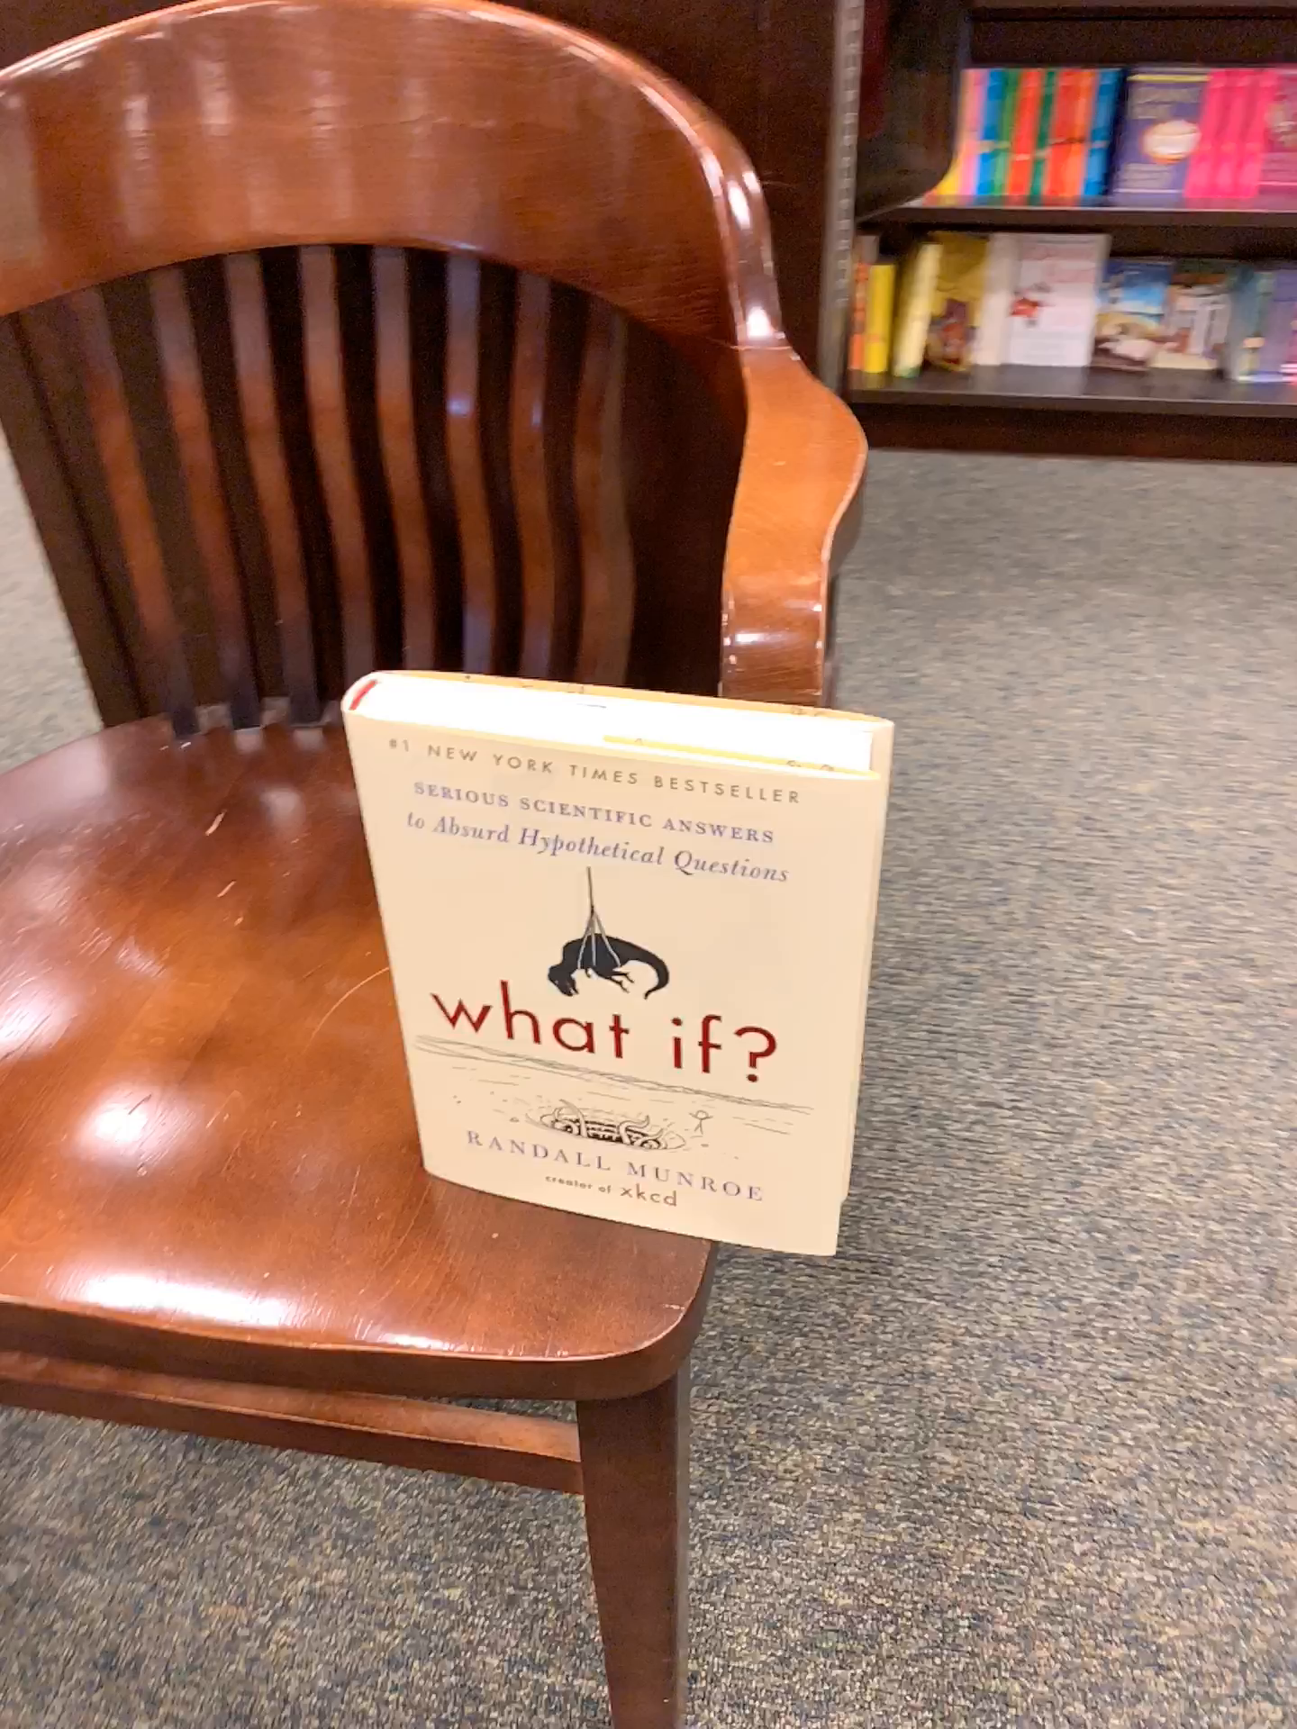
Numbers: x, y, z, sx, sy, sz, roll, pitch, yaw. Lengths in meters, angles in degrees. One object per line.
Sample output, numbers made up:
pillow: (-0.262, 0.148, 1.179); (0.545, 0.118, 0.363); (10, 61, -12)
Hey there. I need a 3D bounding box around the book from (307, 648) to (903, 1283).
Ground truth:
book: (-0.011, 0.046, 0.502); (0.188, 0.239, 0.050); (7, 37, 12)
